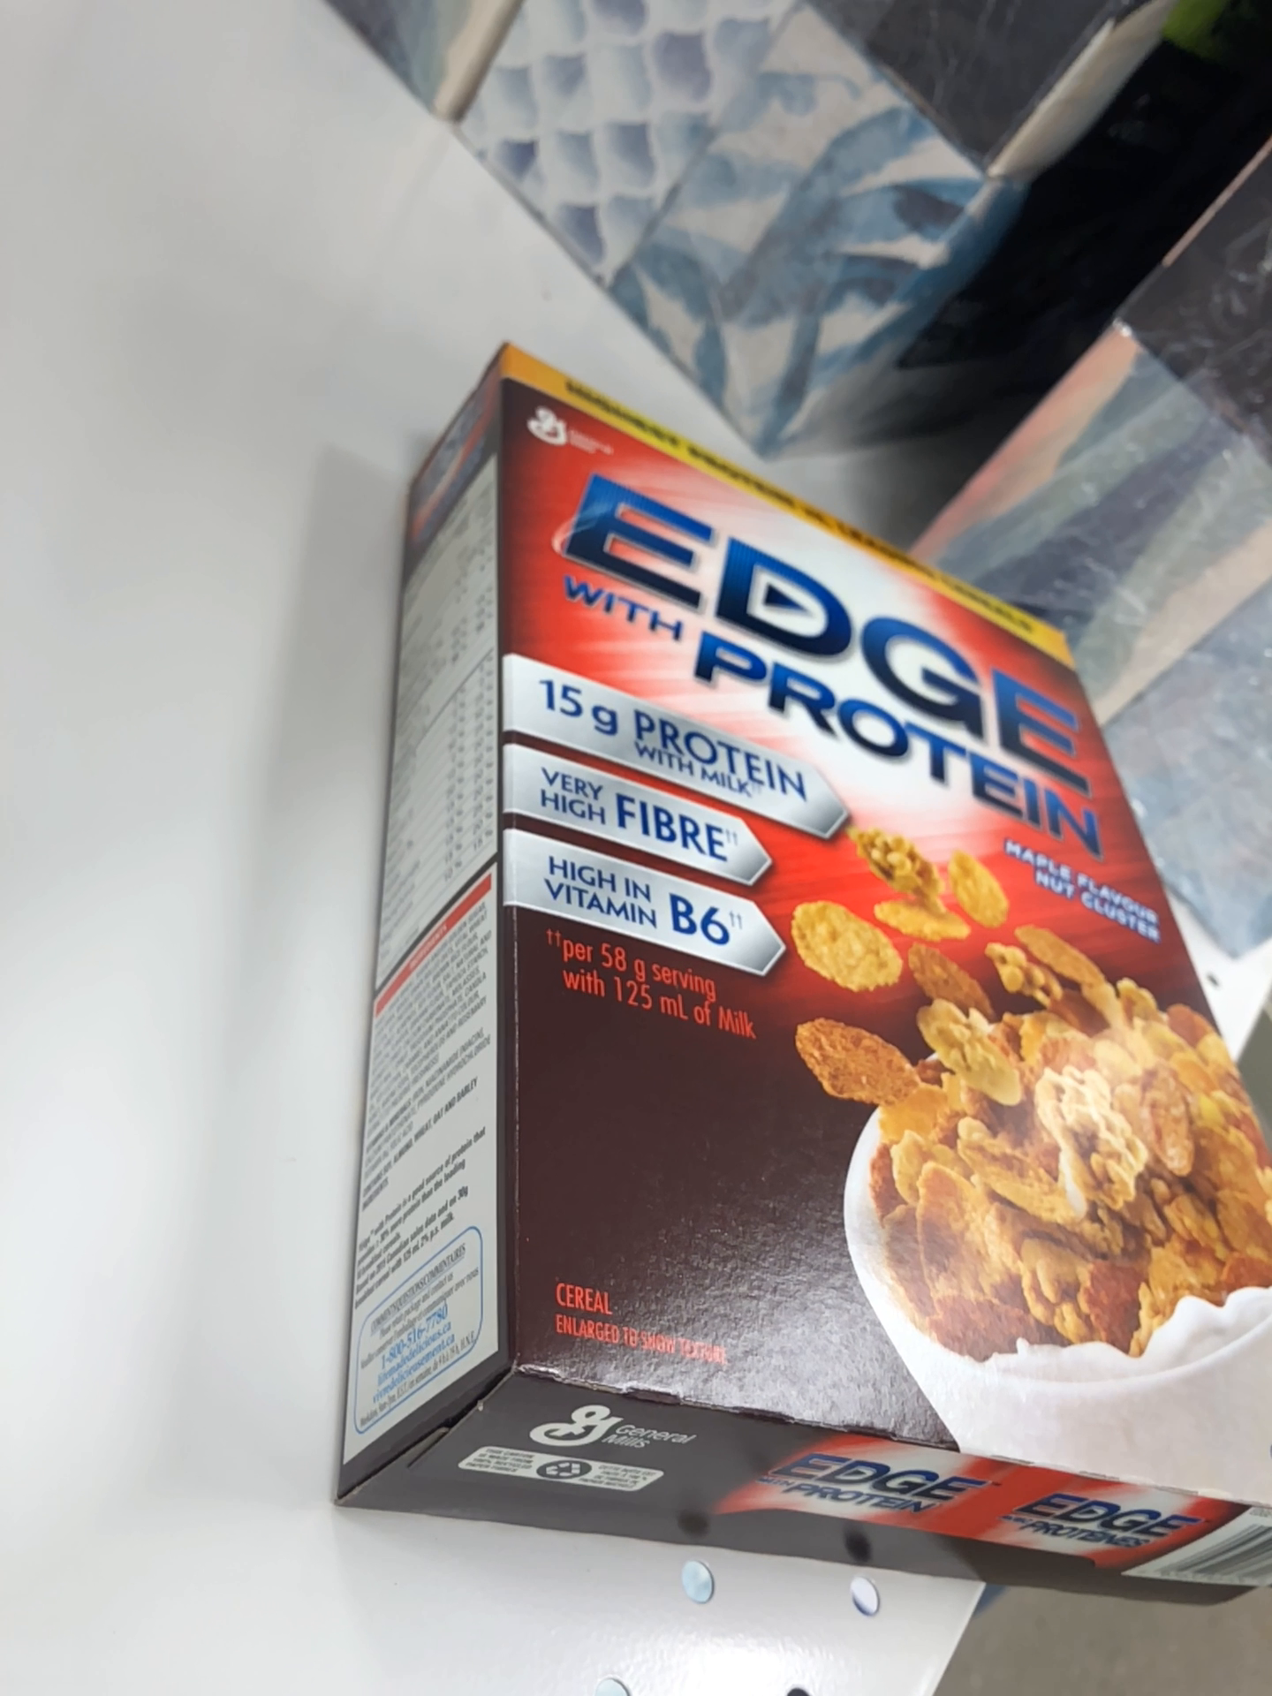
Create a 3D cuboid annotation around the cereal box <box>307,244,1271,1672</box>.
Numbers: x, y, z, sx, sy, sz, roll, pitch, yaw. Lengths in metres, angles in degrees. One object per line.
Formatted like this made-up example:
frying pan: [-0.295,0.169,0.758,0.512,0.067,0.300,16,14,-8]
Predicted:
cereal box: [0.055,0.011,0.305,0.221,0.050,0.271,21,42,-27]
